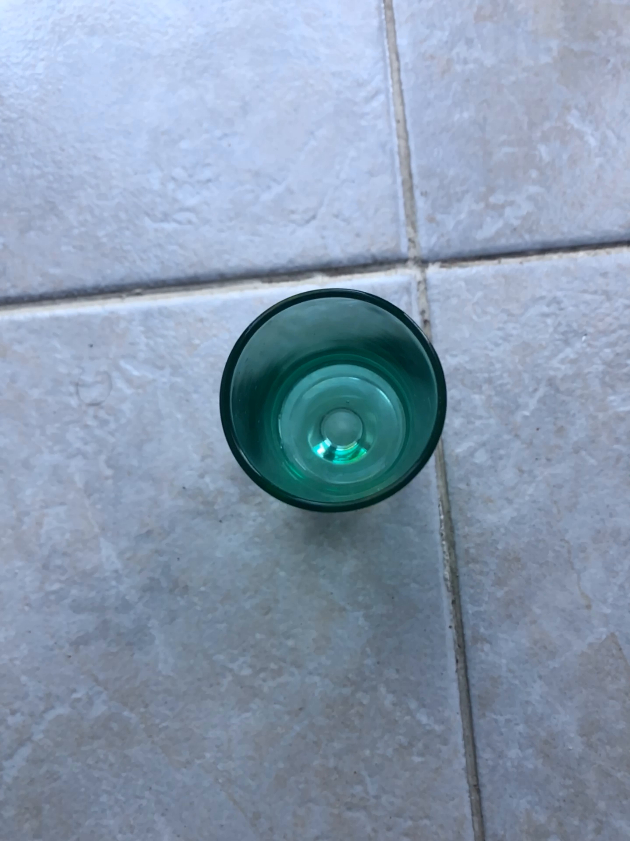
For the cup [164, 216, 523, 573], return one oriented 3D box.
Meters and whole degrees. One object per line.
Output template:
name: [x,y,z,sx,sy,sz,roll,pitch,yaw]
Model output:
cup: [0.007,-0.002,0.157,0.045,0.068,0.044,0,85,4]
